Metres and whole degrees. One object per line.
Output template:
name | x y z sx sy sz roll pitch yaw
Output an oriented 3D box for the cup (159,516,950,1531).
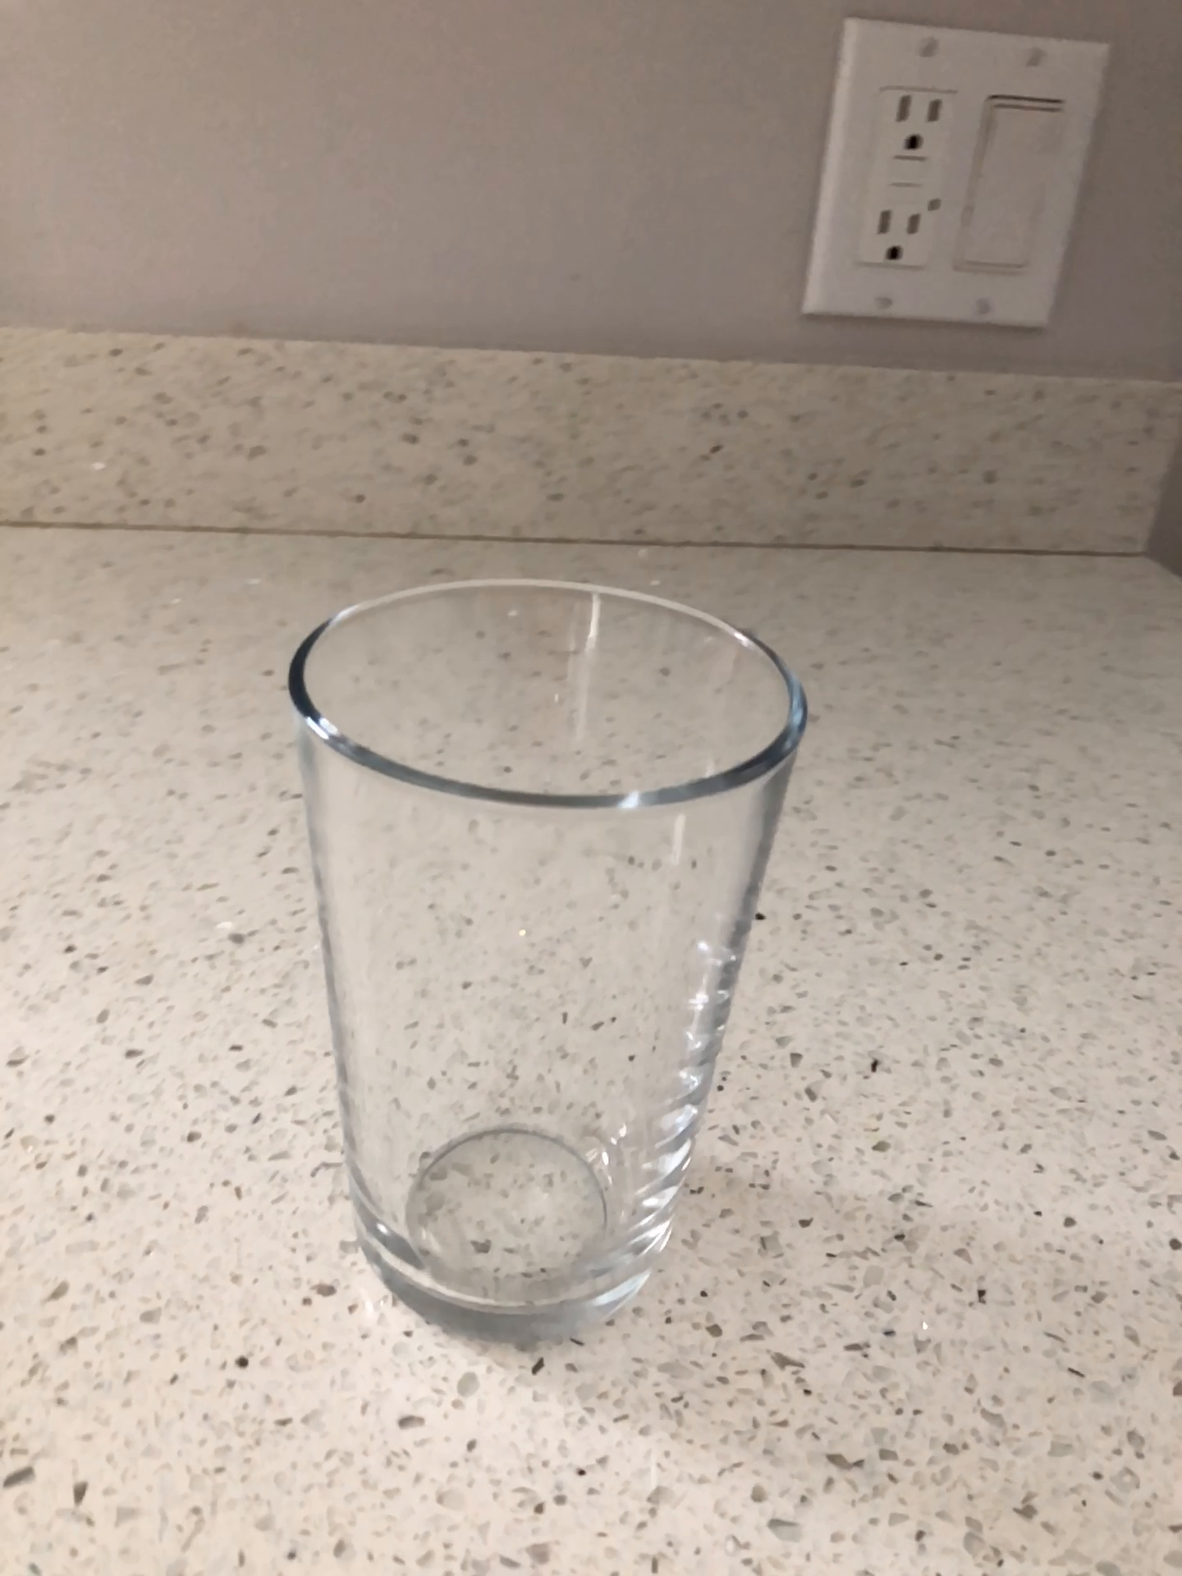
cup | -0.010 0.029 0.207 0.074 0.114 0.080 3 29 -2
